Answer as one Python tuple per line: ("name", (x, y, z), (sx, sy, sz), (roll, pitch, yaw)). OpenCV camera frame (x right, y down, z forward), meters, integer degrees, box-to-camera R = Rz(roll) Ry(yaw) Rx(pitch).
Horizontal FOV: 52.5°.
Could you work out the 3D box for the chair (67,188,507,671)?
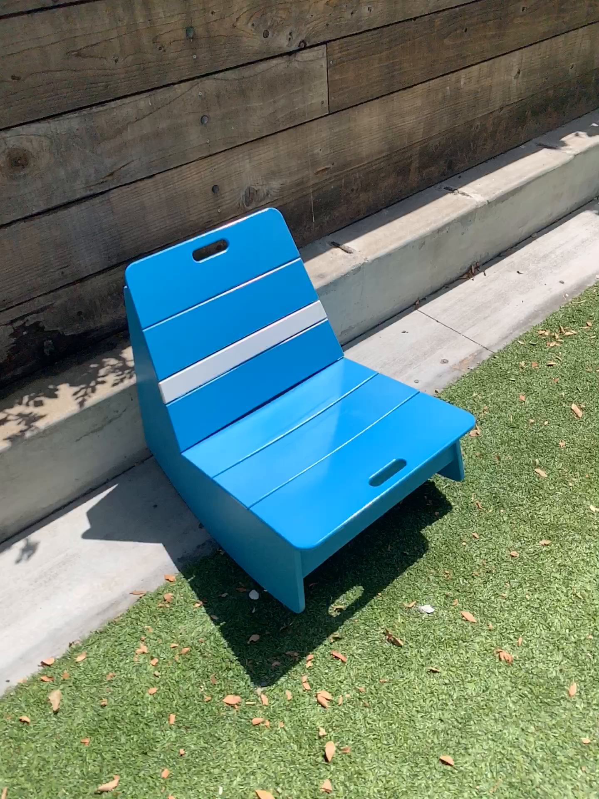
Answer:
("chair", (-0.046, 0.039, 1.498), (0.590, 0.745, 0.724), (-29, 49, -25))
